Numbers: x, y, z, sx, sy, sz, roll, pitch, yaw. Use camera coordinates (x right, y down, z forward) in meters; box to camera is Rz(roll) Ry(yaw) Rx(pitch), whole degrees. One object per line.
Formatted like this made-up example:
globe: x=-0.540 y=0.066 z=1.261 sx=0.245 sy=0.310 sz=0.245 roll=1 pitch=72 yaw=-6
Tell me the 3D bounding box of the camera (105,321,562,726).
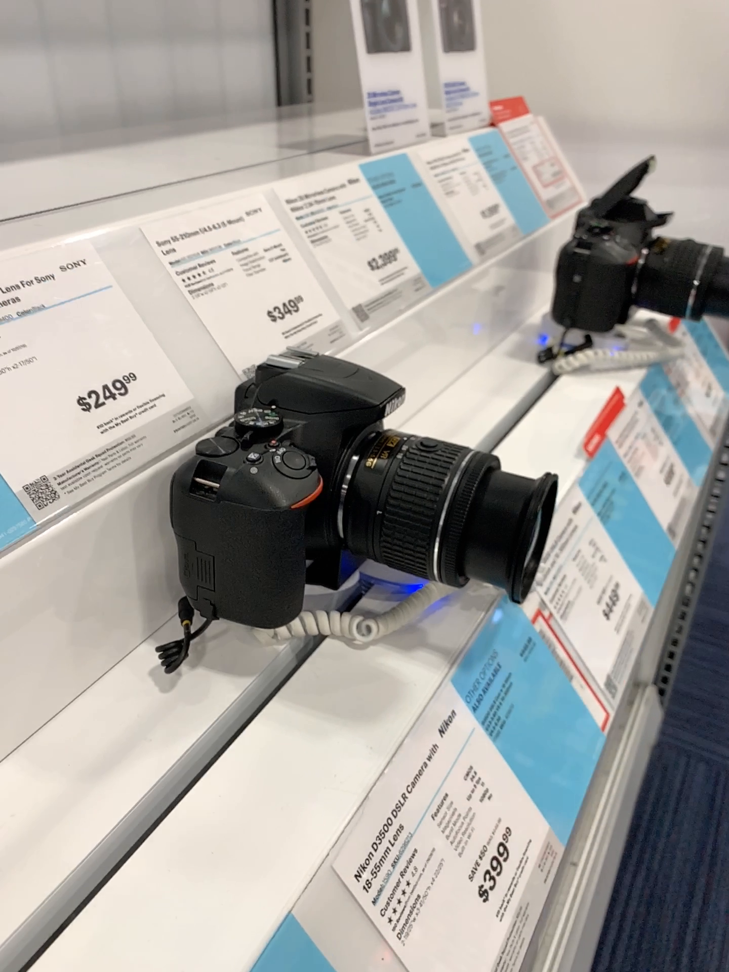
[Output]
camera: x=-0.006 y=0.003 z=0.345 sx=0.150 sy=0.099 sz=0.131 roll=13 pitch=33 yaw=21
